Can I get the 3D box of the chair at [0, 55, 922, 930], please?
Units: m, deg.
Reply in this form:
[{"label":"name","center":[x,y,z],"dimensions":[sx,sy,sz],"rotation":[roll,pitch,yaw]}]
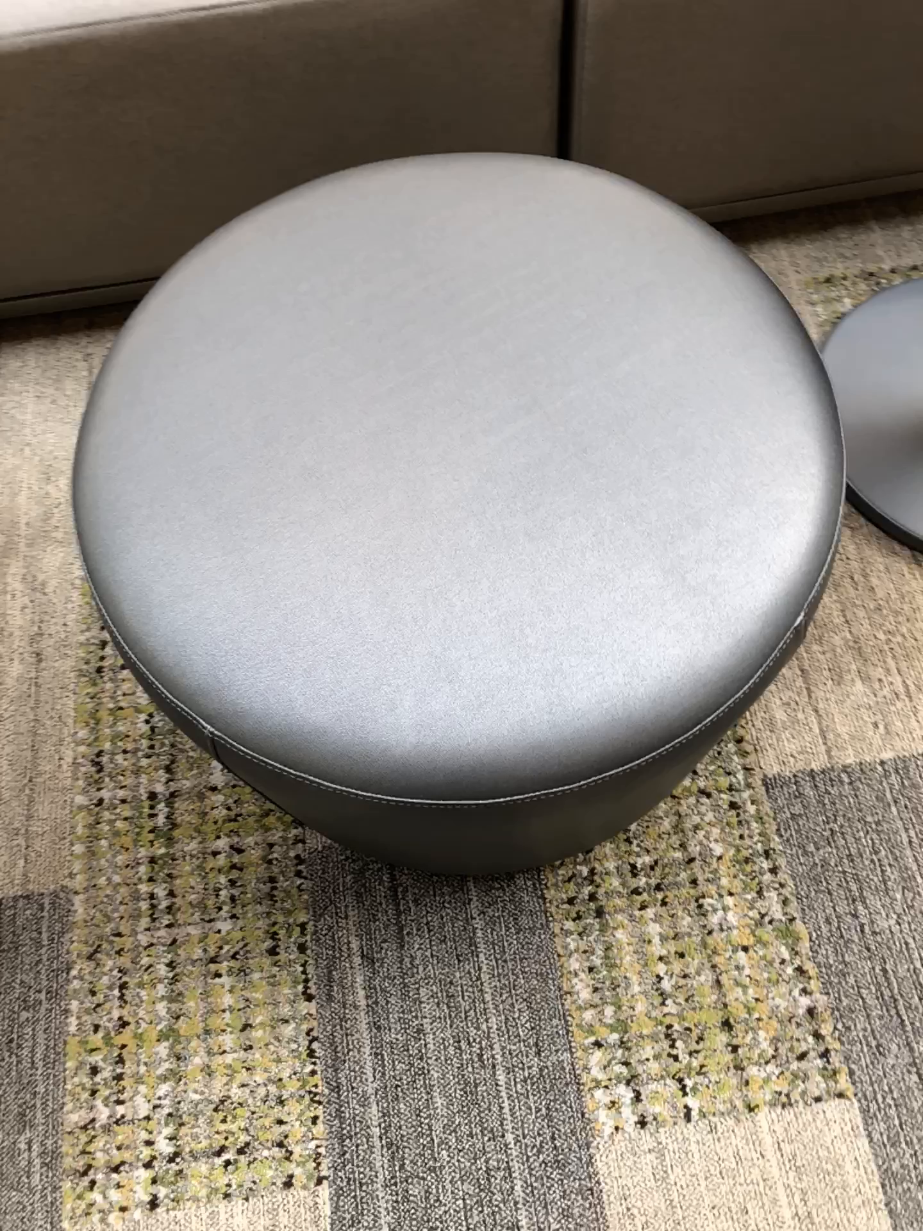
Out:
[{"label":"chair","center":[0.007,-0.077,0.916],"dimensions":[0.620,0.459,0.571],"rotation":[-5,63,1]}]
